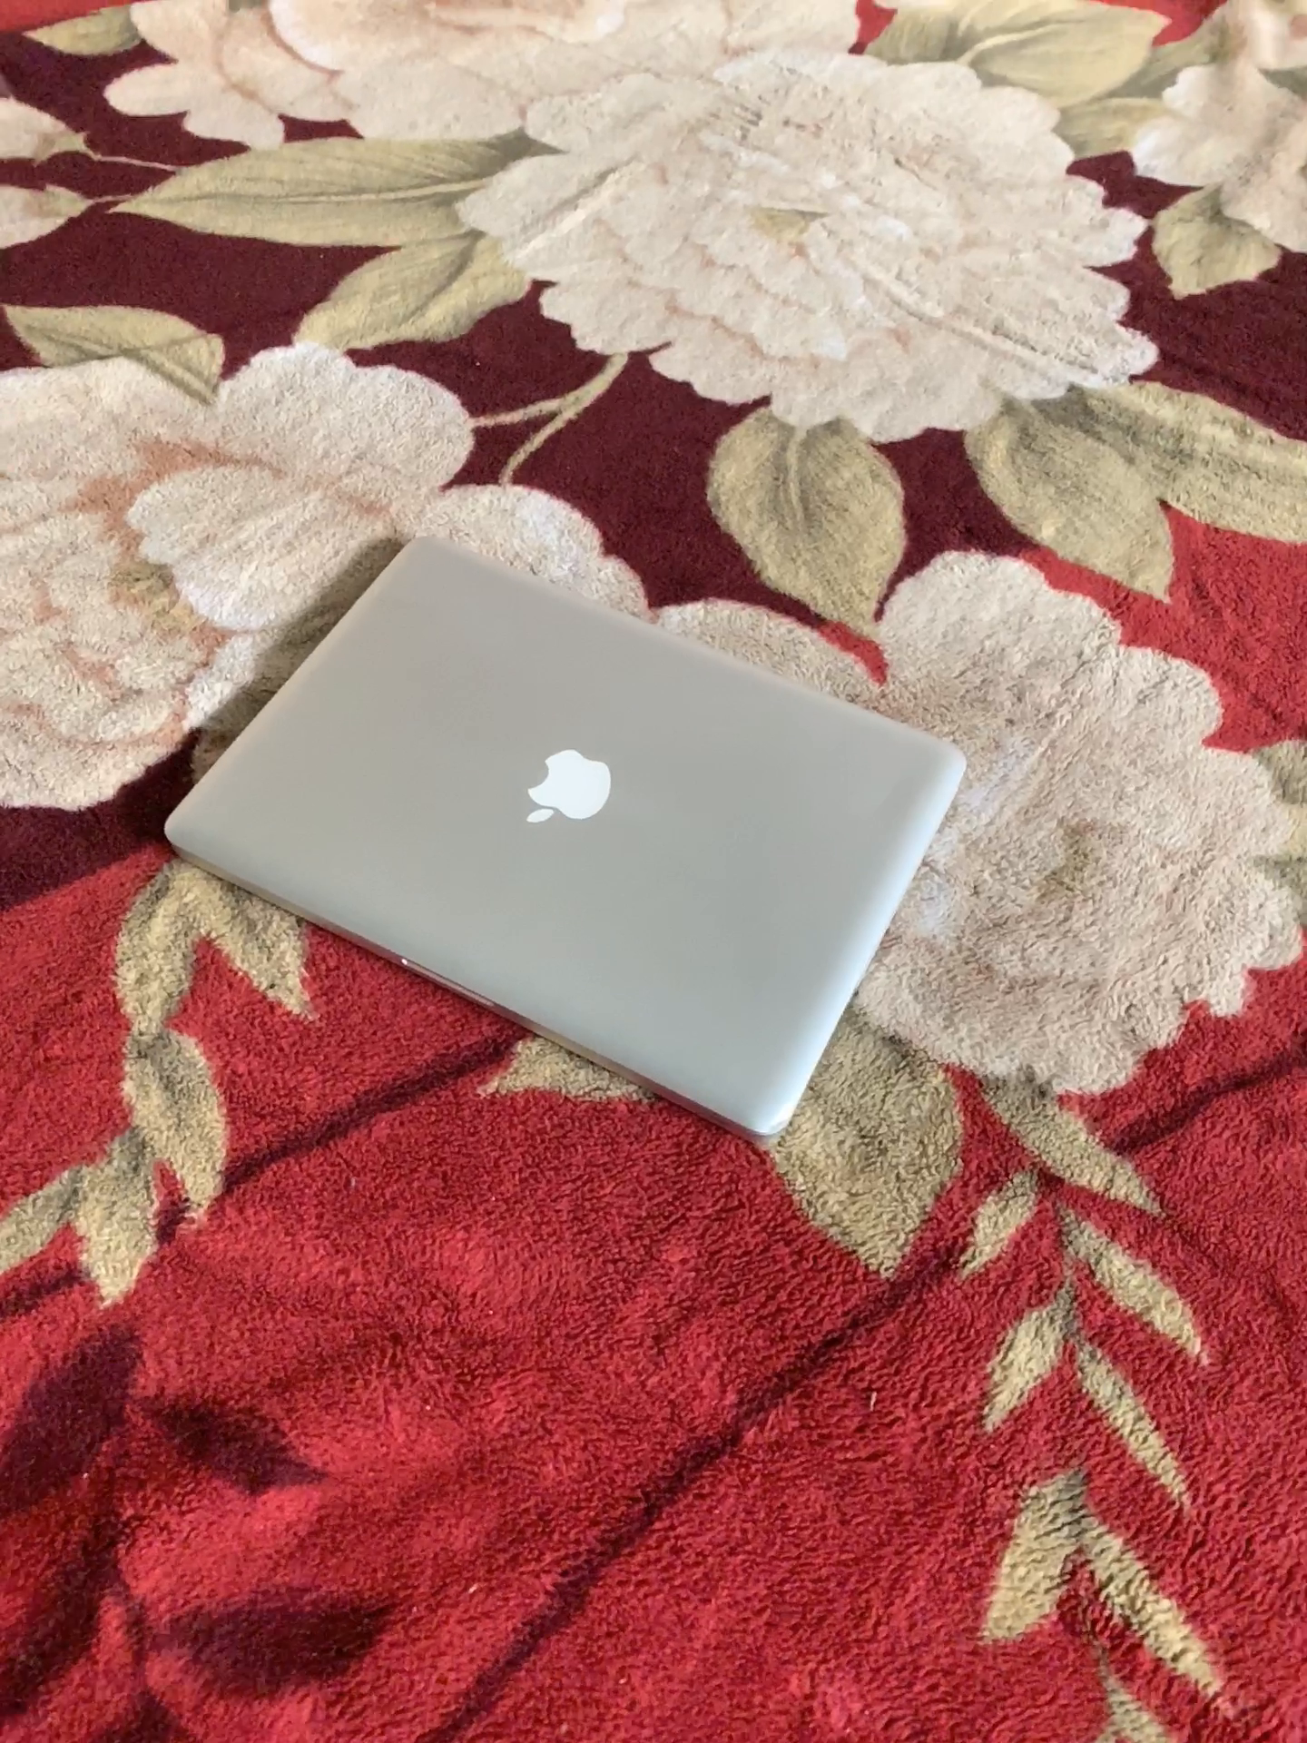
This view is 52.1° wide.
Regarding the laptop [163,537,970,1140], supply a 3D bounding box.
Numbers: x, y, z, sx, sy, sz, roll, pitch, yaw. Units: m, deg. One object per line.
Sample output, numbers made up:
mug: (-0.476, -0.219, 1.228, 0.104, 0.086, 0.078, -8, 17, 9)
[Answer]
laptop: (-0.038, -0.035, 0.618, 0.310, 0.001, 0.210, 24, 62, 15)
